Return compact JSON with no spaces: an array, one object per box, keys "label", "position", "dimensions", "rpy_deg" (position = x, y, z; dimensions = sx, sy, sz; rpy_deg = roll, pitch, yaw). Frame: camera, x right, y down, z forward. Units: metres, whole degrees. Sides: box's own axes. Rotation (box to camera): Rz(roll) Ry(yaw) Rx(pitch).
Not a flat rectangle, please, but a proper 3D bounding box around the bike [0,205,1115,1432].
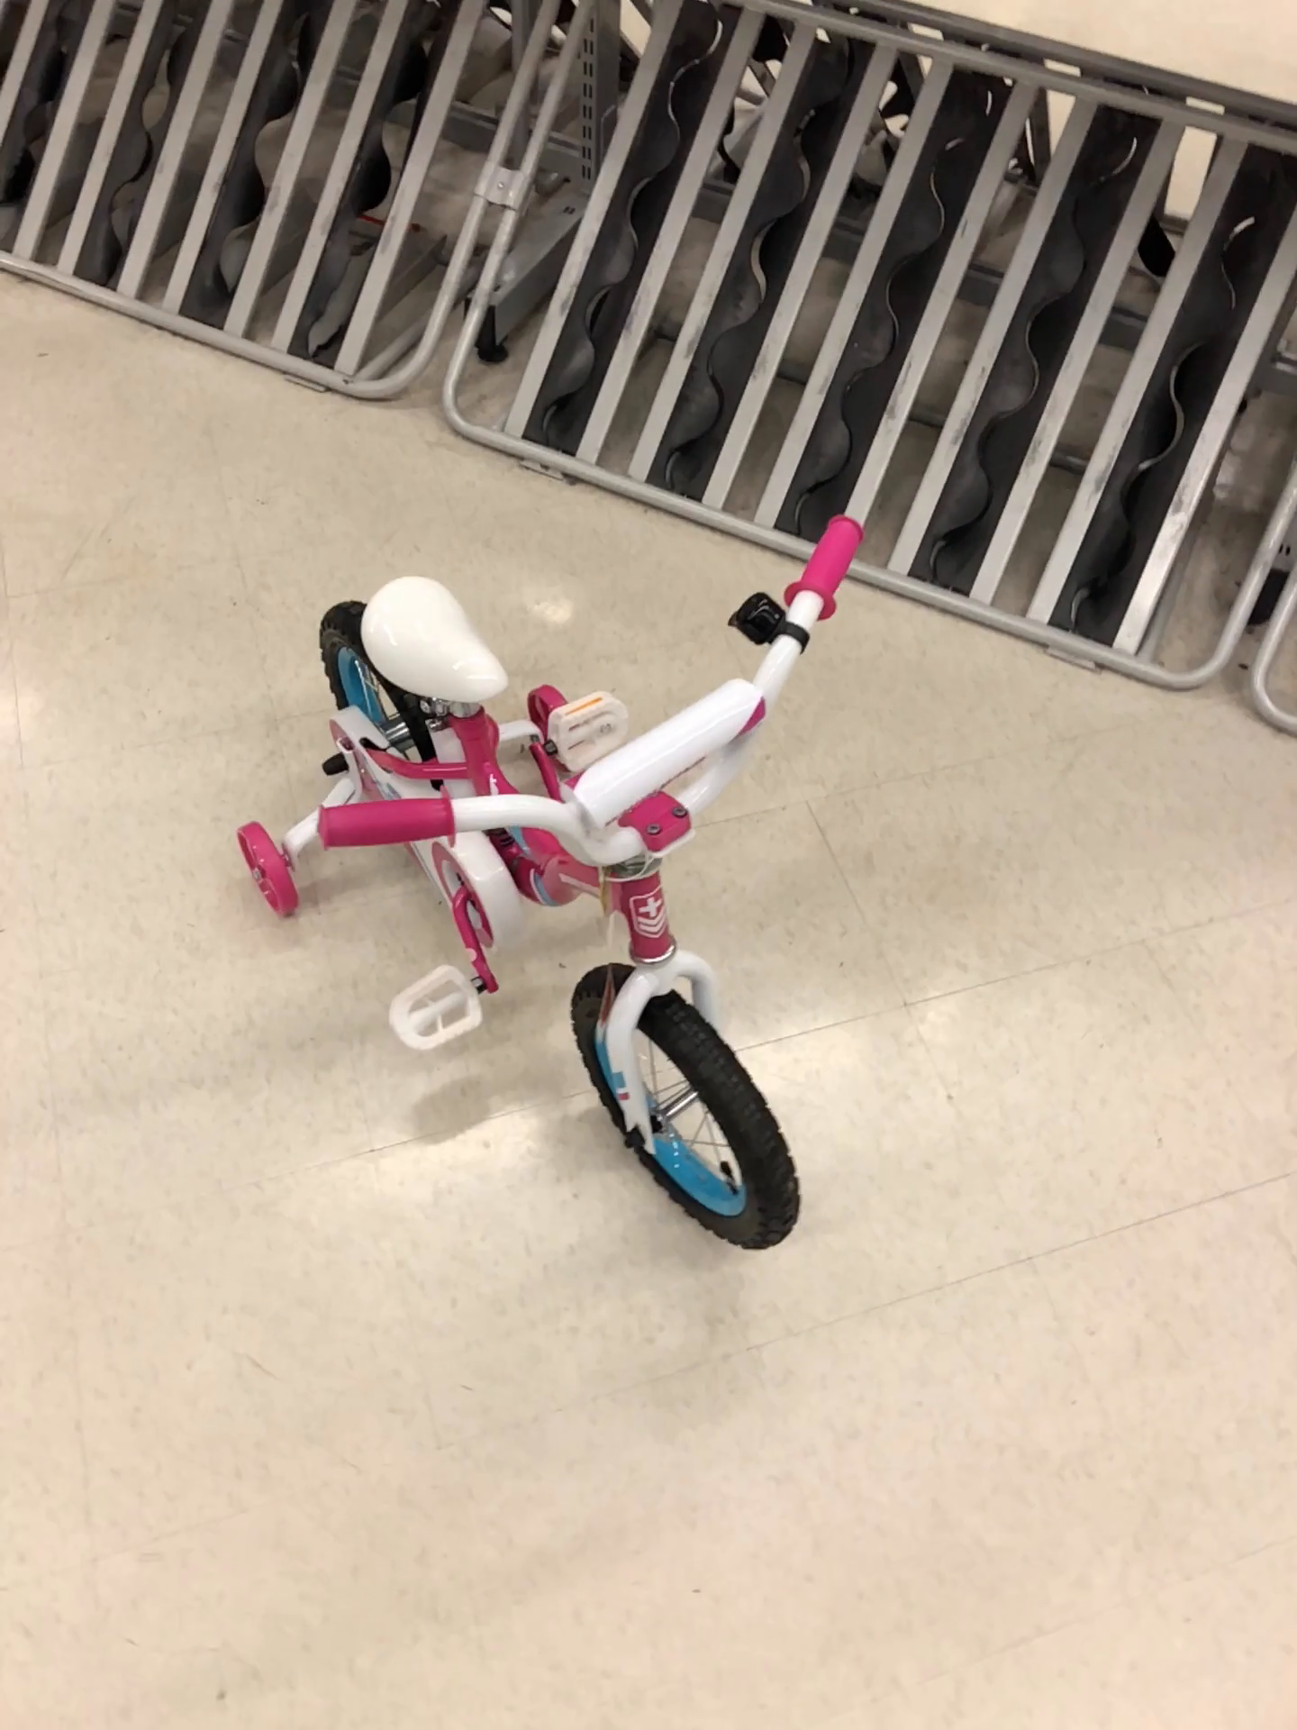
[{"label":"bike","position":[-0.140,-0.062,1.269],"dimensions":[0.462,0.625,0.816],"rpy_deg":[-28,58,-22]}]
